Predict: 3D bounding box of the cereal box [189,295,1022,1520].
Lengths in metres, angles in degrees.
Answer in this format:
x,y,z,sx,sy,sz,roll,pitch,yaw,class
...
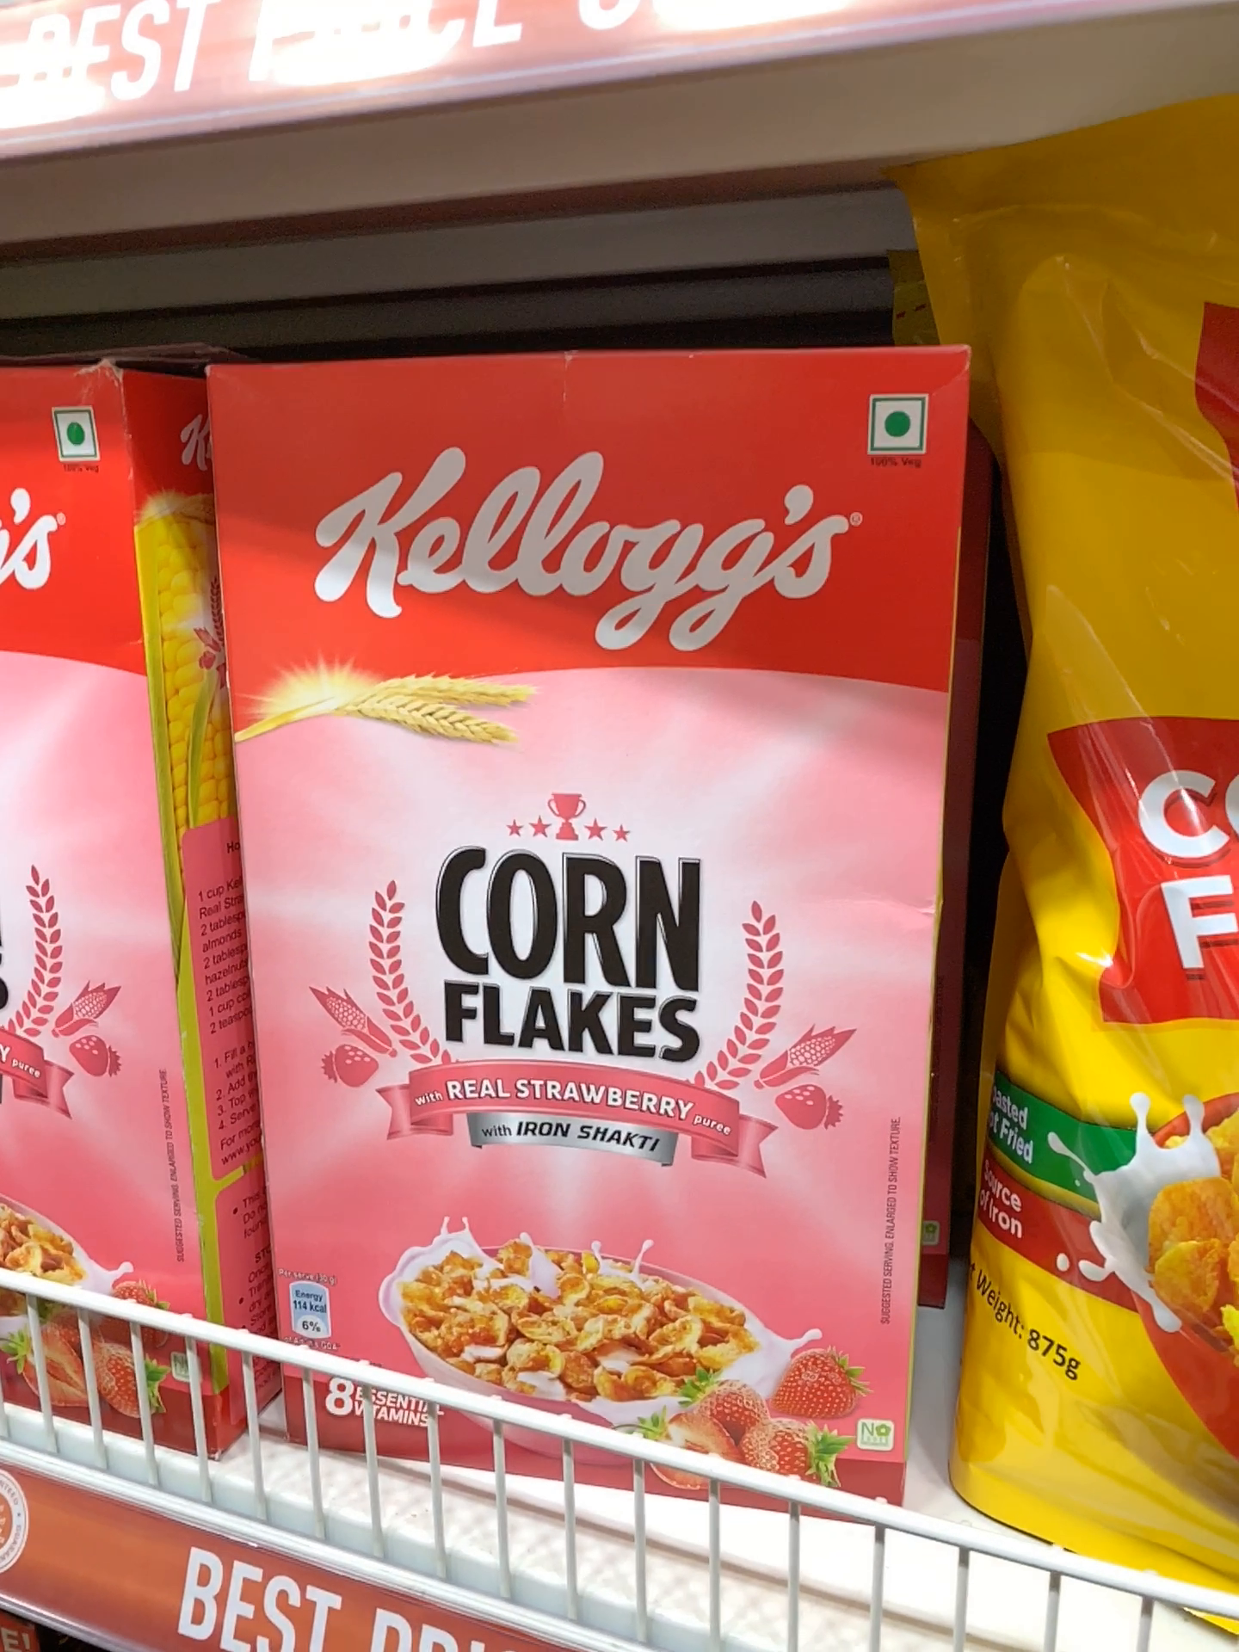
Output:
x,y,z,sx,sy,sz,roll,pitch,yaw,class
0.002,0.018,0.329,0.170,0.269,0.090,2,13,11,cereal box
